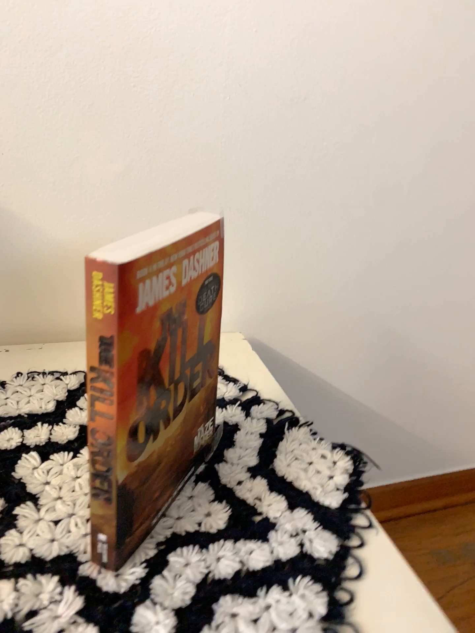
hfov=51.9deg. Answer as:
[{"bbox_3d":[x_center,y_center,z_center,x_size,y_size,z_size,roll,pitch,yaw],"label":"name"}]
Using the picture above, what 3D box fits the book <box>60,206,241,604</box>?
[{"bbox_3d":[-0.049,0.046,0.336,0.030,0.219,0.161,12,22,18],"label":"book"}]
